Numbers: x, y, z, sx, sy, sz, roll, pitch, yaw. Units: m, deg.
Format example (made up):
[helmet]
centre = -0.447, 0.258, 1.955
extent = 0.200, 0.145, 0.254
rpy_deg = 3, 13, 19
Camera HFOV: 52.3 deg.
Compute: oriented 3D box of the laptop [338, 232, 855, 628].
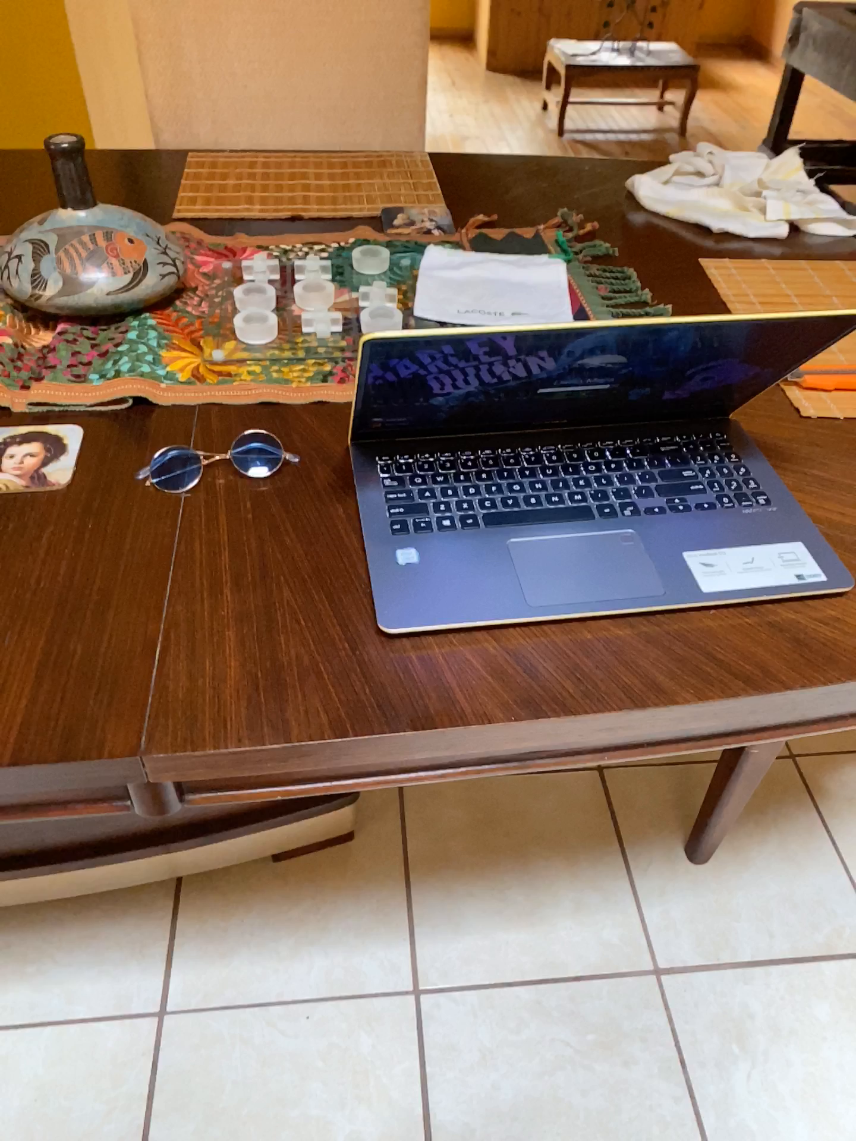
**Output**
[laptop]
centre = 0.130, -0.126, 0.695
extent = 0.377, 0.181, 0.251
rpy_deg = -5, 43, -9
